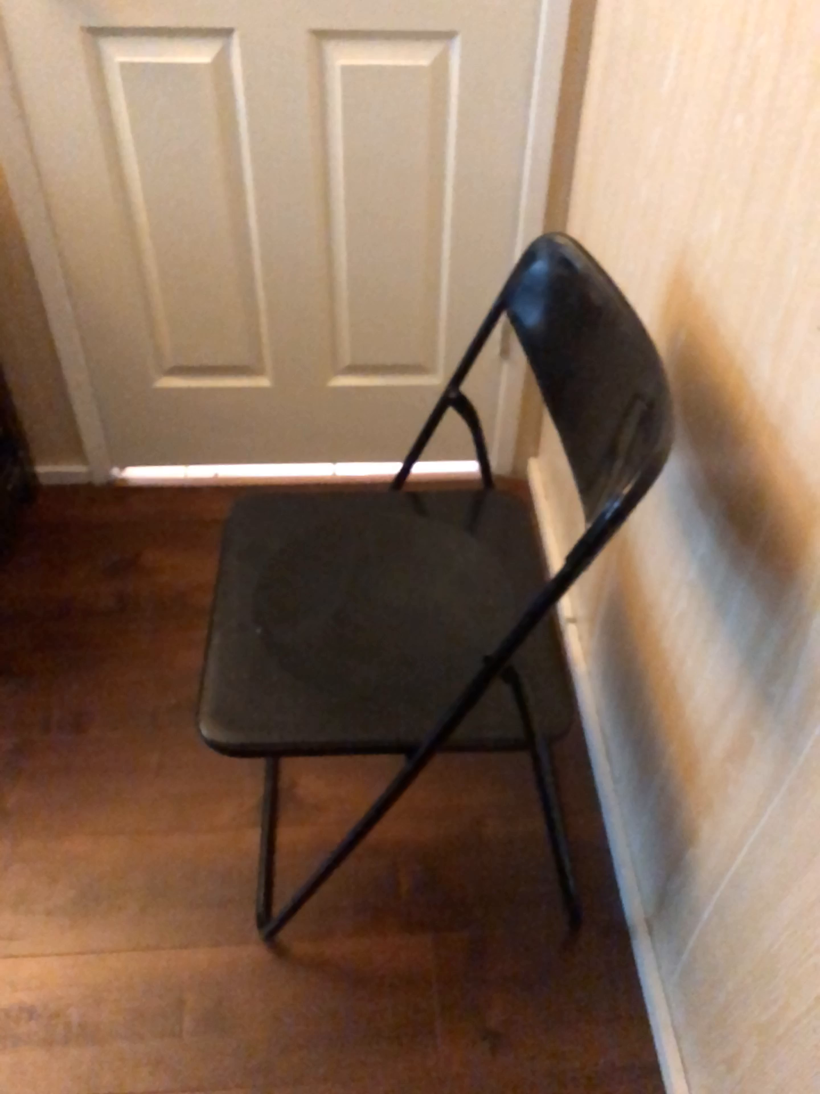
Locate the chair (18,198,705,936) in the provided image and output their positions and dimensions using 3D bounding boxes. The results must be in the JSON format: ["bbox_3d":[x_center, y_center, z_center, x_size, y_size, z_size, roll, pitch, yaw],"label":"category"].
[{"bbox_3d":[-0.044,0.040,1.027,0.470,0.666,0.493,-2,44,-2],"label":"chair"}]
